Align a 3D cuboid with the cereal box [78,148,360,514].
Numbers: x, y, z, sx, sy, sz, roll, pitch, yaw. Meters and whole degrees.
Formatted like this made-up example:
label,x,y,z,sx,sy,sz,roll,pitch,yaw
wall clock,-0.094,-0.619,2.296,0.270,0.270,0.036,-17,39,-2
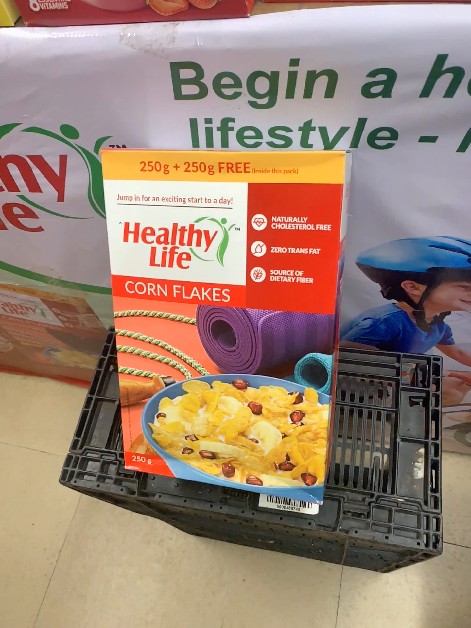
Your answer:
label,x,y,z,sx,sy,sz,roll,pitch,yaw
cereal box,-0.010,0.006,0.416,0.200,0.280,0.090,5,18,15
